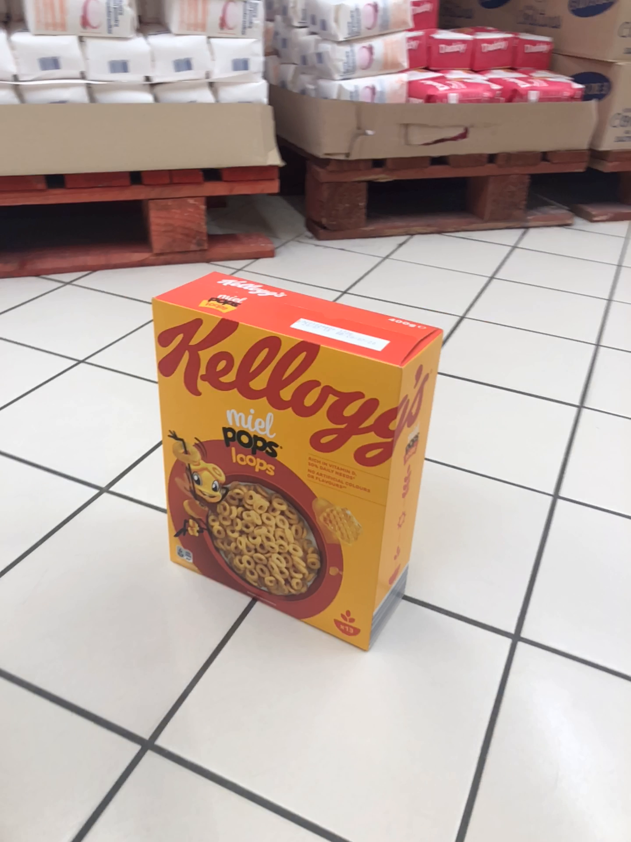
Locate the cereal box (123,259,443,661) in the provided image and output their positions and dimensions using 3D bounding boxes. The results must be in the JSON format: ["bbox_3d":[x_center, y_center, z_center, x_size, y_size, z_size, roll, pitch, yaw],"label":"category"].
[{"bbox_3d":[-0.027,0.026,0.514,0.190,0.239,0.091,18,34,23],"label":"cereal box"}]
